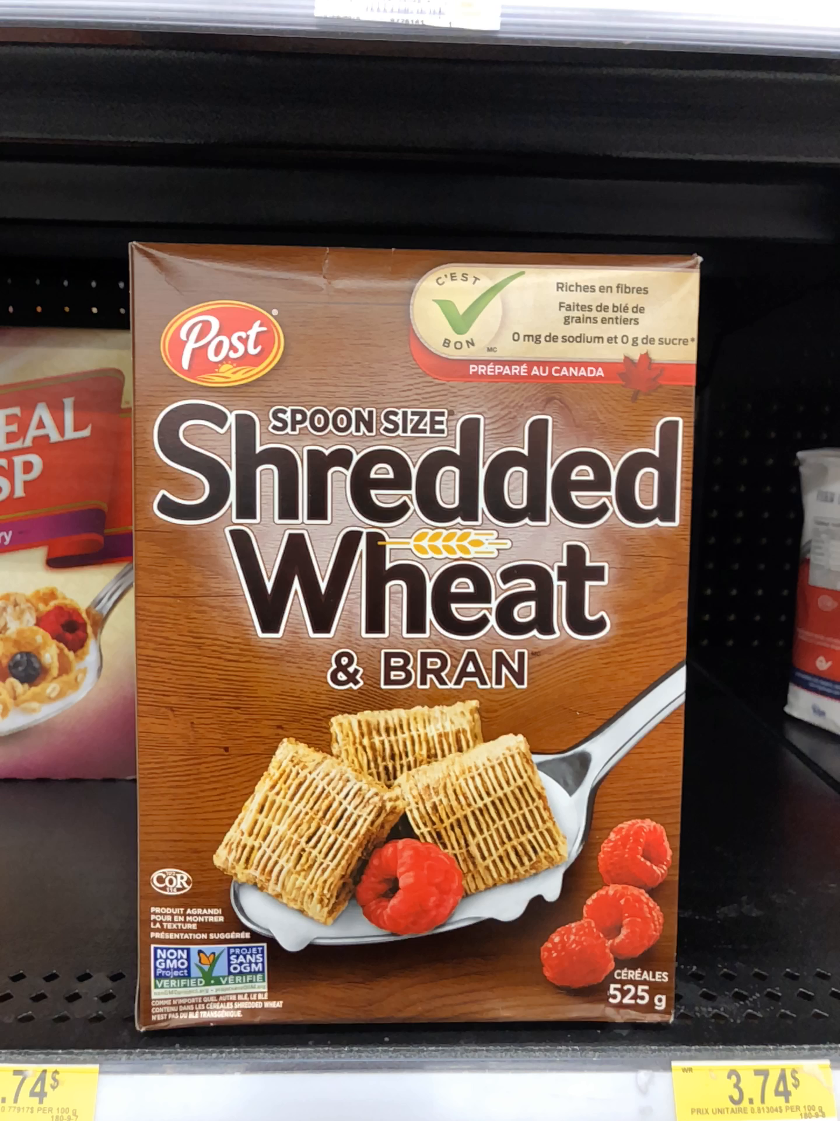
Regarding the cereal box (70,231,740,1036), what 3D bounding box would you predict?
[{"bbox_3d":[-0.006,0.026,0.334,0.210,0.259,0.060,1,6,-4],"label":"cereal box"}]
